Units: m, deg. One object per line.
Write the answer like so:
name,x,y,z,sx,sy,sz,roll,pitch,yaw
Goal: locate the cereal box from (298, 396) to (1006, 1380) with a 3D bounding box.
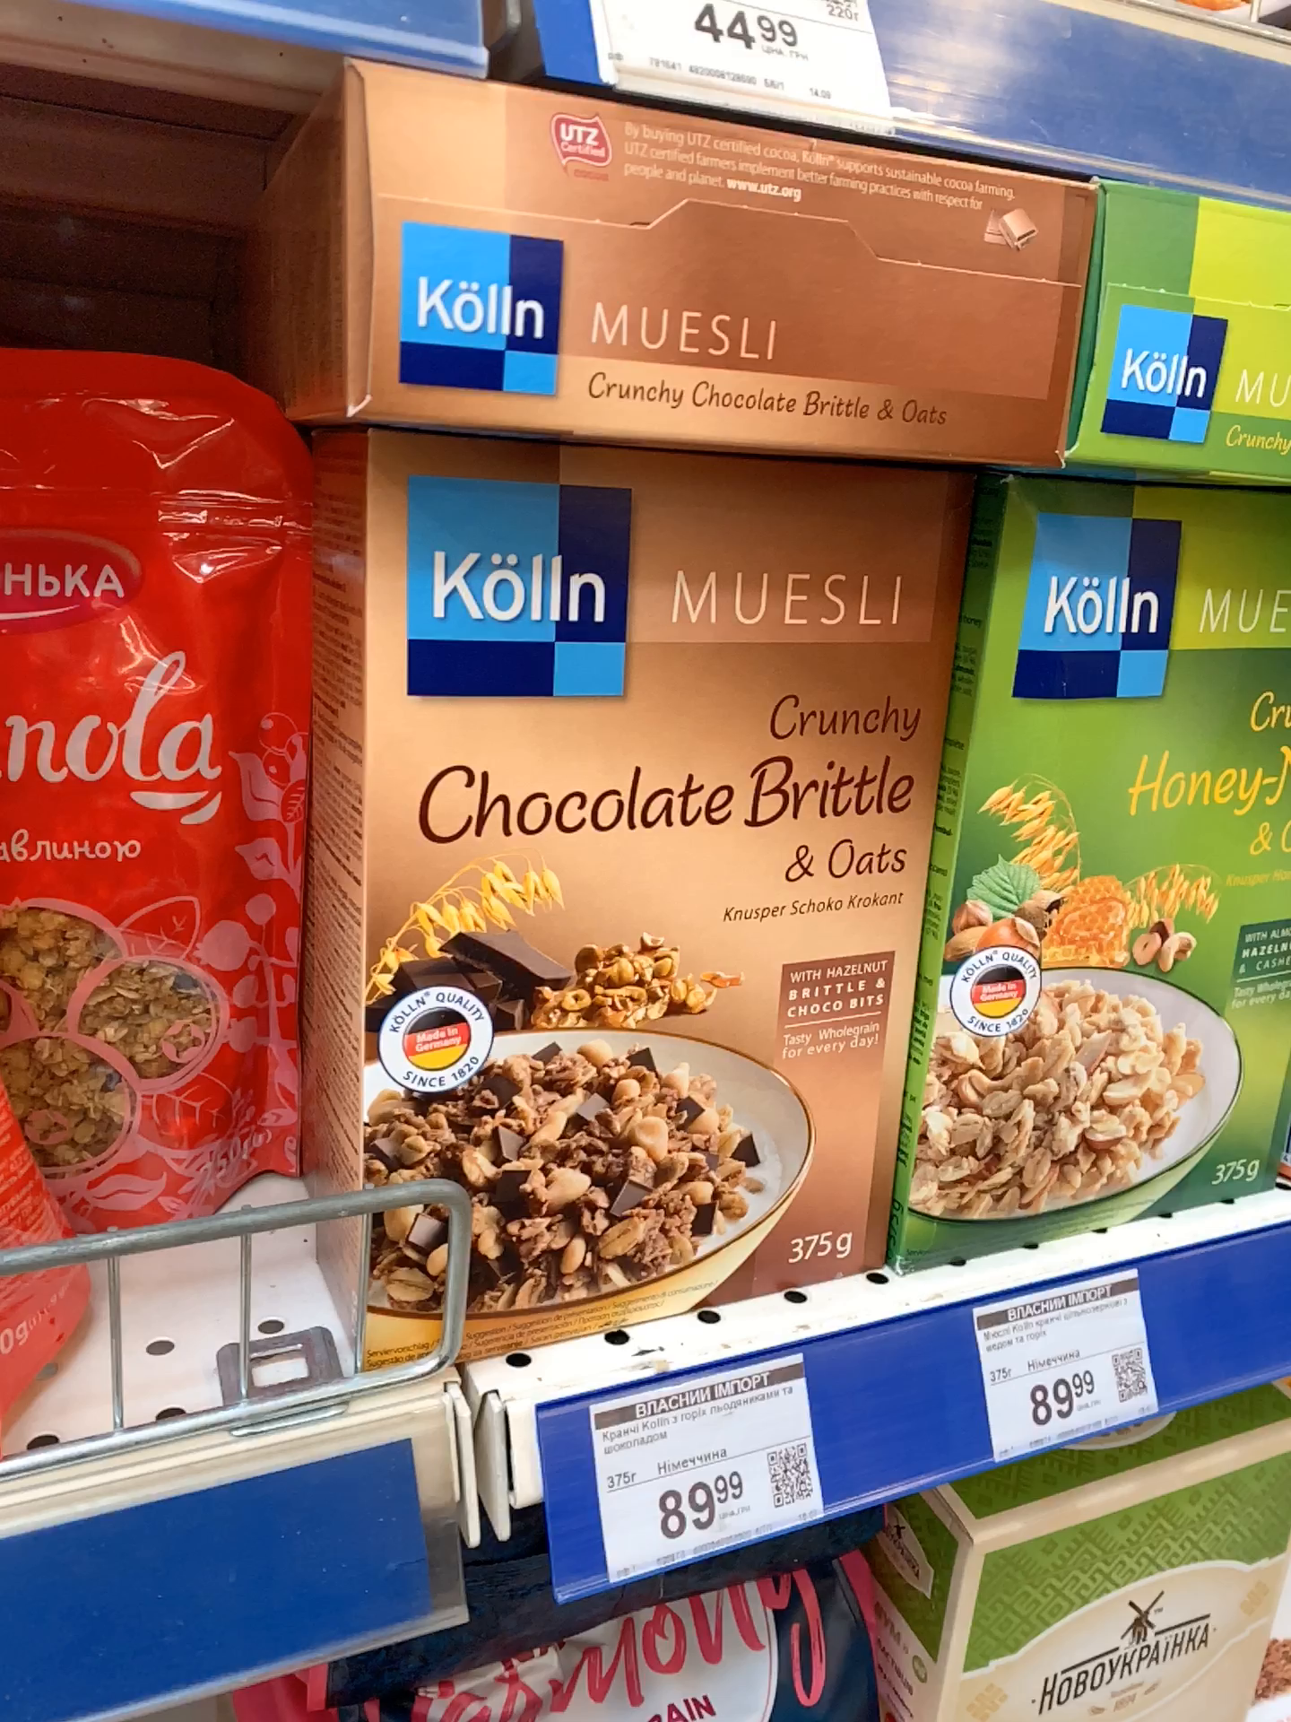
cereal box,-0.004,0.003,0.331,0.150,0.209,0.060,-3,15,-24
